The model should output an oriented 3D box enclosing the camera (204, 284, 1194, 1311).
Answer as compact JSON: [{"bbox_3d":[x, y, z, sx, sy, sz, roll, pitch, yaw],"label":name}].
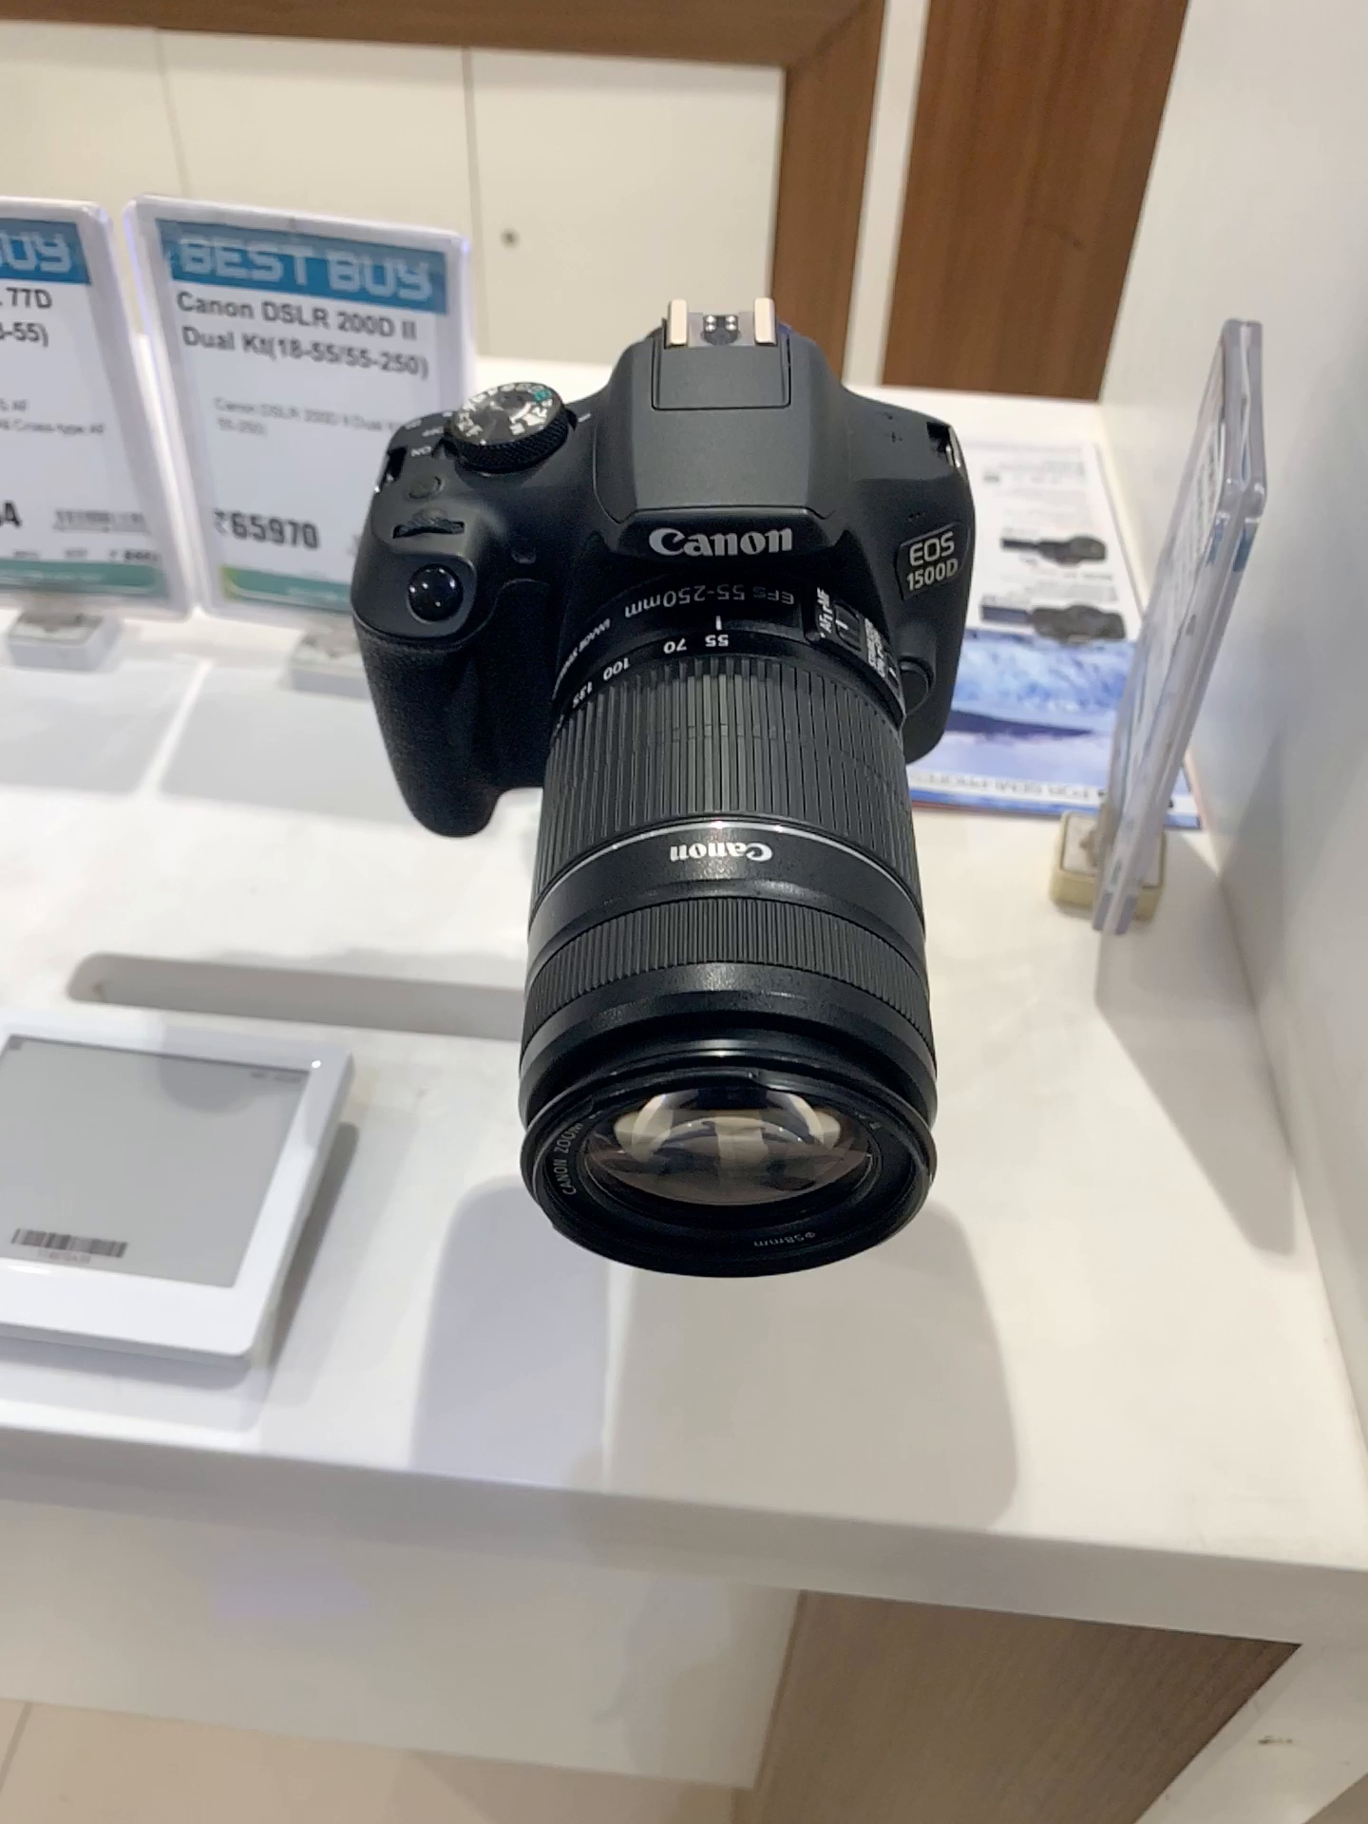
[{"bbox_3d":[0.000,-0.026,0.254,0.117,0.090,0.164,0,52,-2],"label":"camera"}]
